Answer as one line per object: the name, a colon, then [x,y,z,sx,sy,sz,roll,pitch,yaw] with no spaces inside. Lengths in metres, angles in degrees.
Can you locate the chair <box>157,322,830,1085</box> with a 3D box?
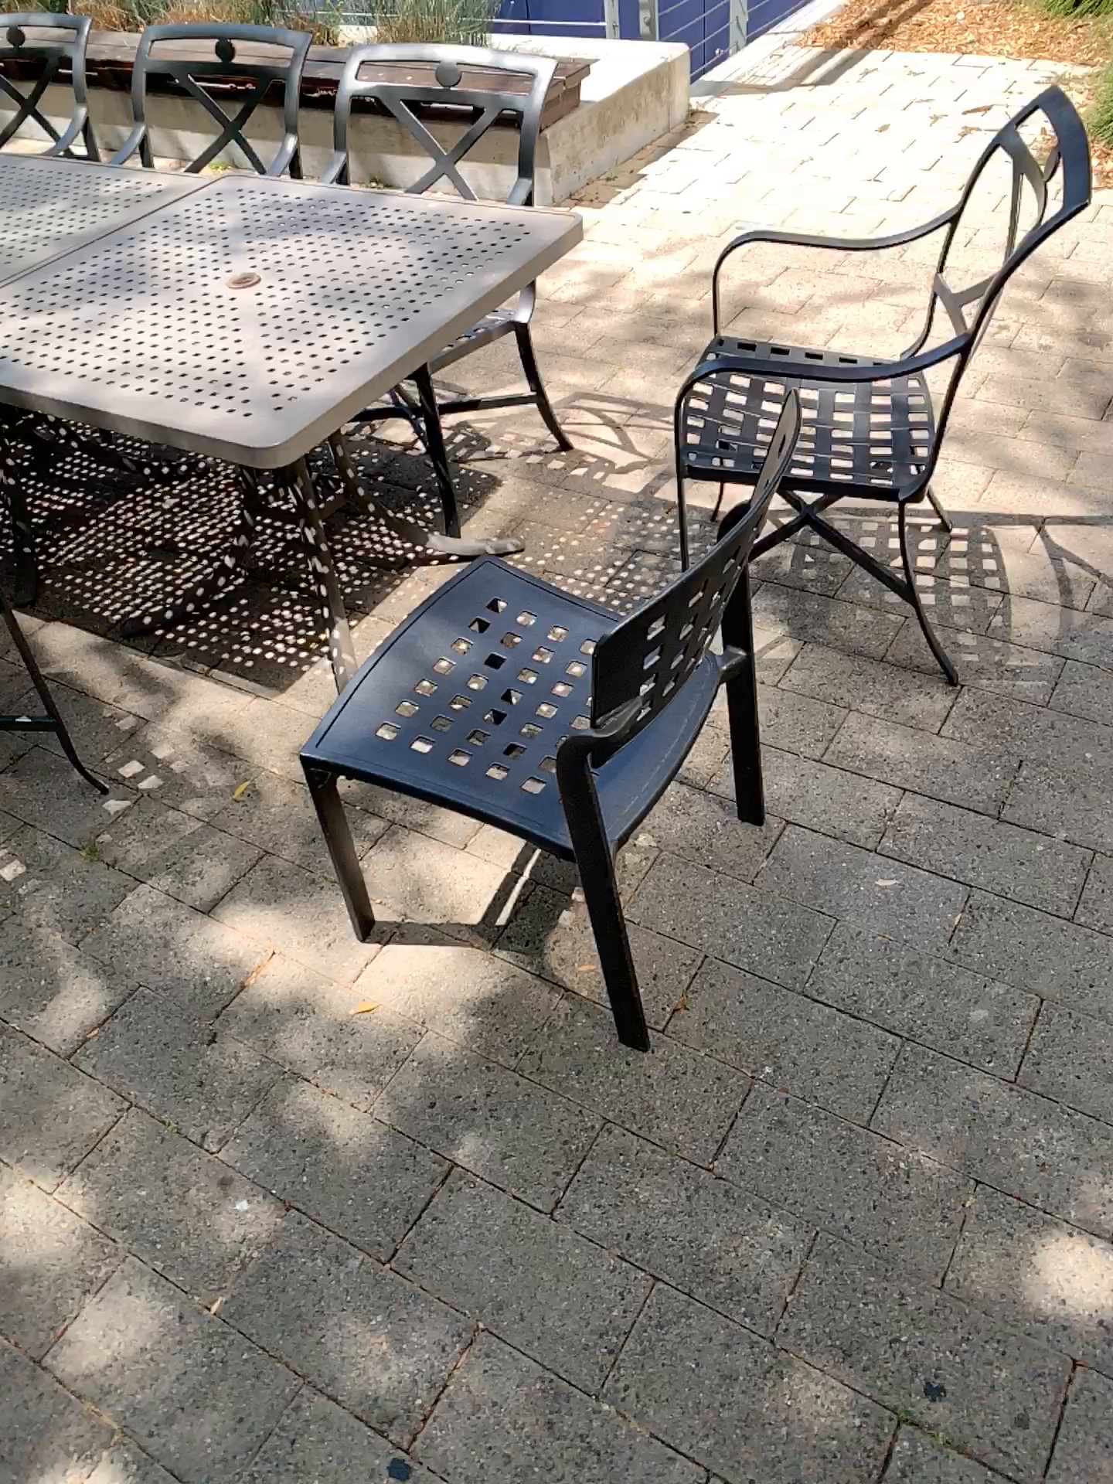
chair: [-0.027,-0.052,1.463,0.552,0.716,0.492,18,49,23]
